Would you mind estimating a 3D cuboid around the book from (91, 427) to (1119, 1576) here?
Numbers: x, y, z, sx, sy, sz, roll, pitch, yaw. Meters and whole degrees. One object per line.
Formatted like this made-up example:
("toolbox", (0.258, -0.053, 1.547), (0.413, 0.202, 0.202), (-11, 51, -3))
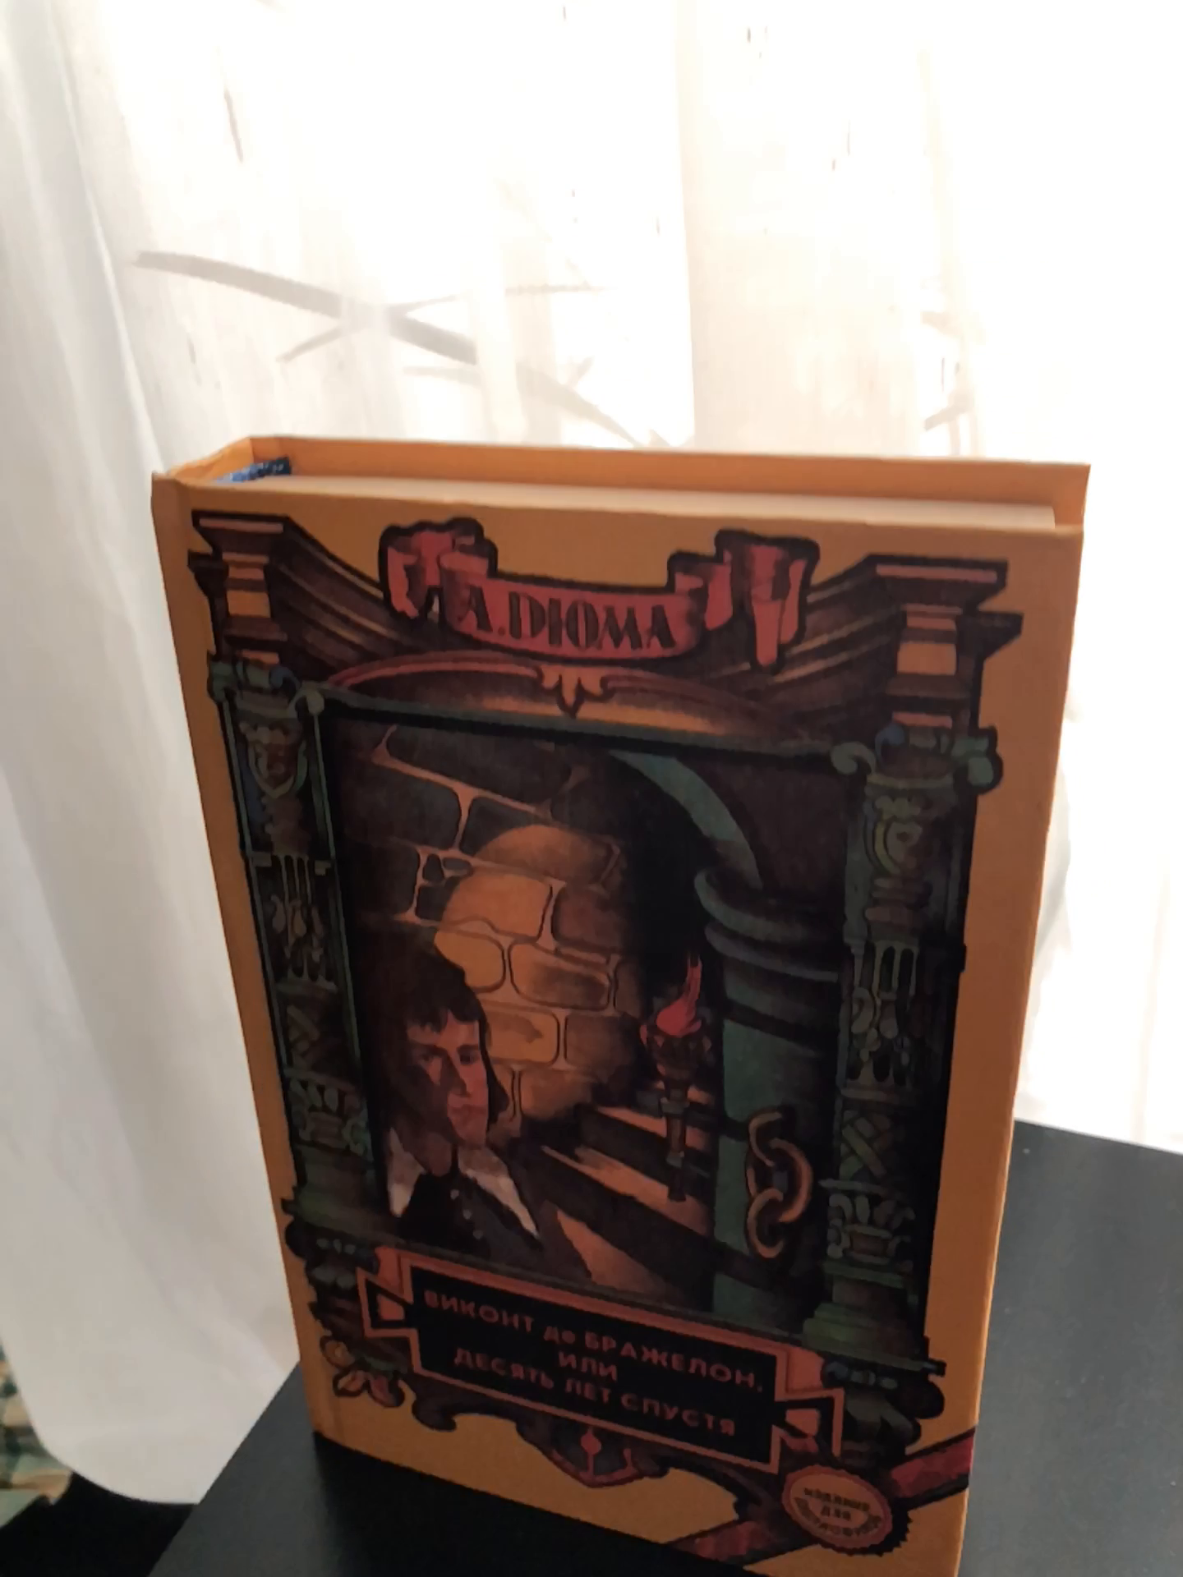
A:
("book", (0.007, 0.047, 0.237), (0.142, 0.209, 0.045), (6, 27, 19))
